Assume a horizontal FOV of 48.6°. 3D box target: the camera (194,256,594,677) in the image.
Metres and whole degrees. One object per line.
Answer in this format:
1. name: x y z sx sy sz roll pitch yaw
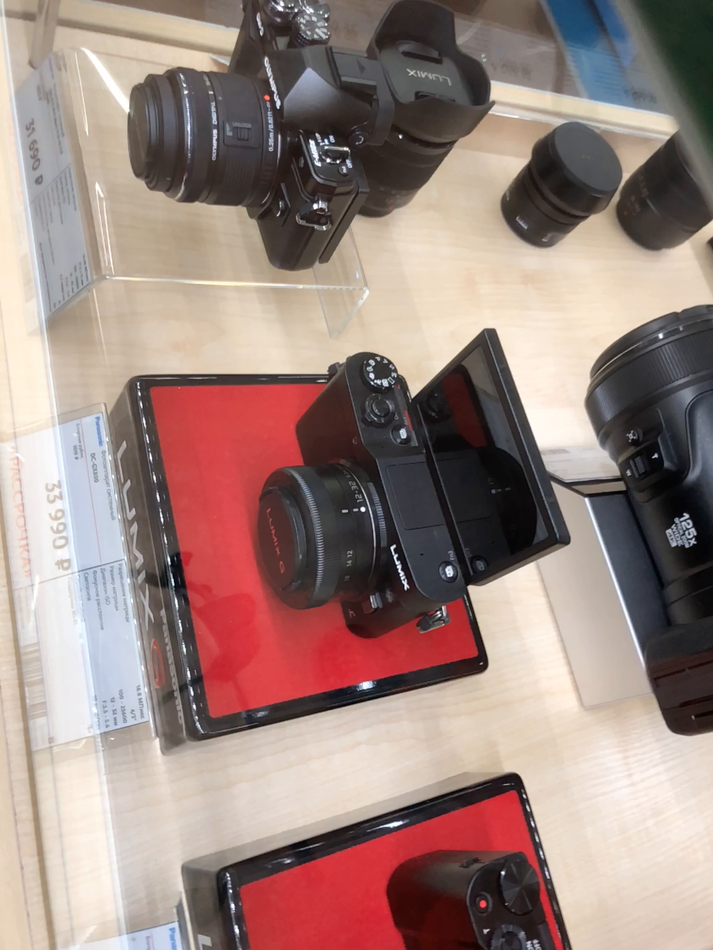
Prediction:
1. camera: 0.002 0.002 0.290 0.070 0.120 0.108 -8 71 -30

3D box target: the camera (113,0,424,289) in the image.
1. camera: -0.046 -0.158 0.365 0.103 0.080 0.108 -4 69 -29
